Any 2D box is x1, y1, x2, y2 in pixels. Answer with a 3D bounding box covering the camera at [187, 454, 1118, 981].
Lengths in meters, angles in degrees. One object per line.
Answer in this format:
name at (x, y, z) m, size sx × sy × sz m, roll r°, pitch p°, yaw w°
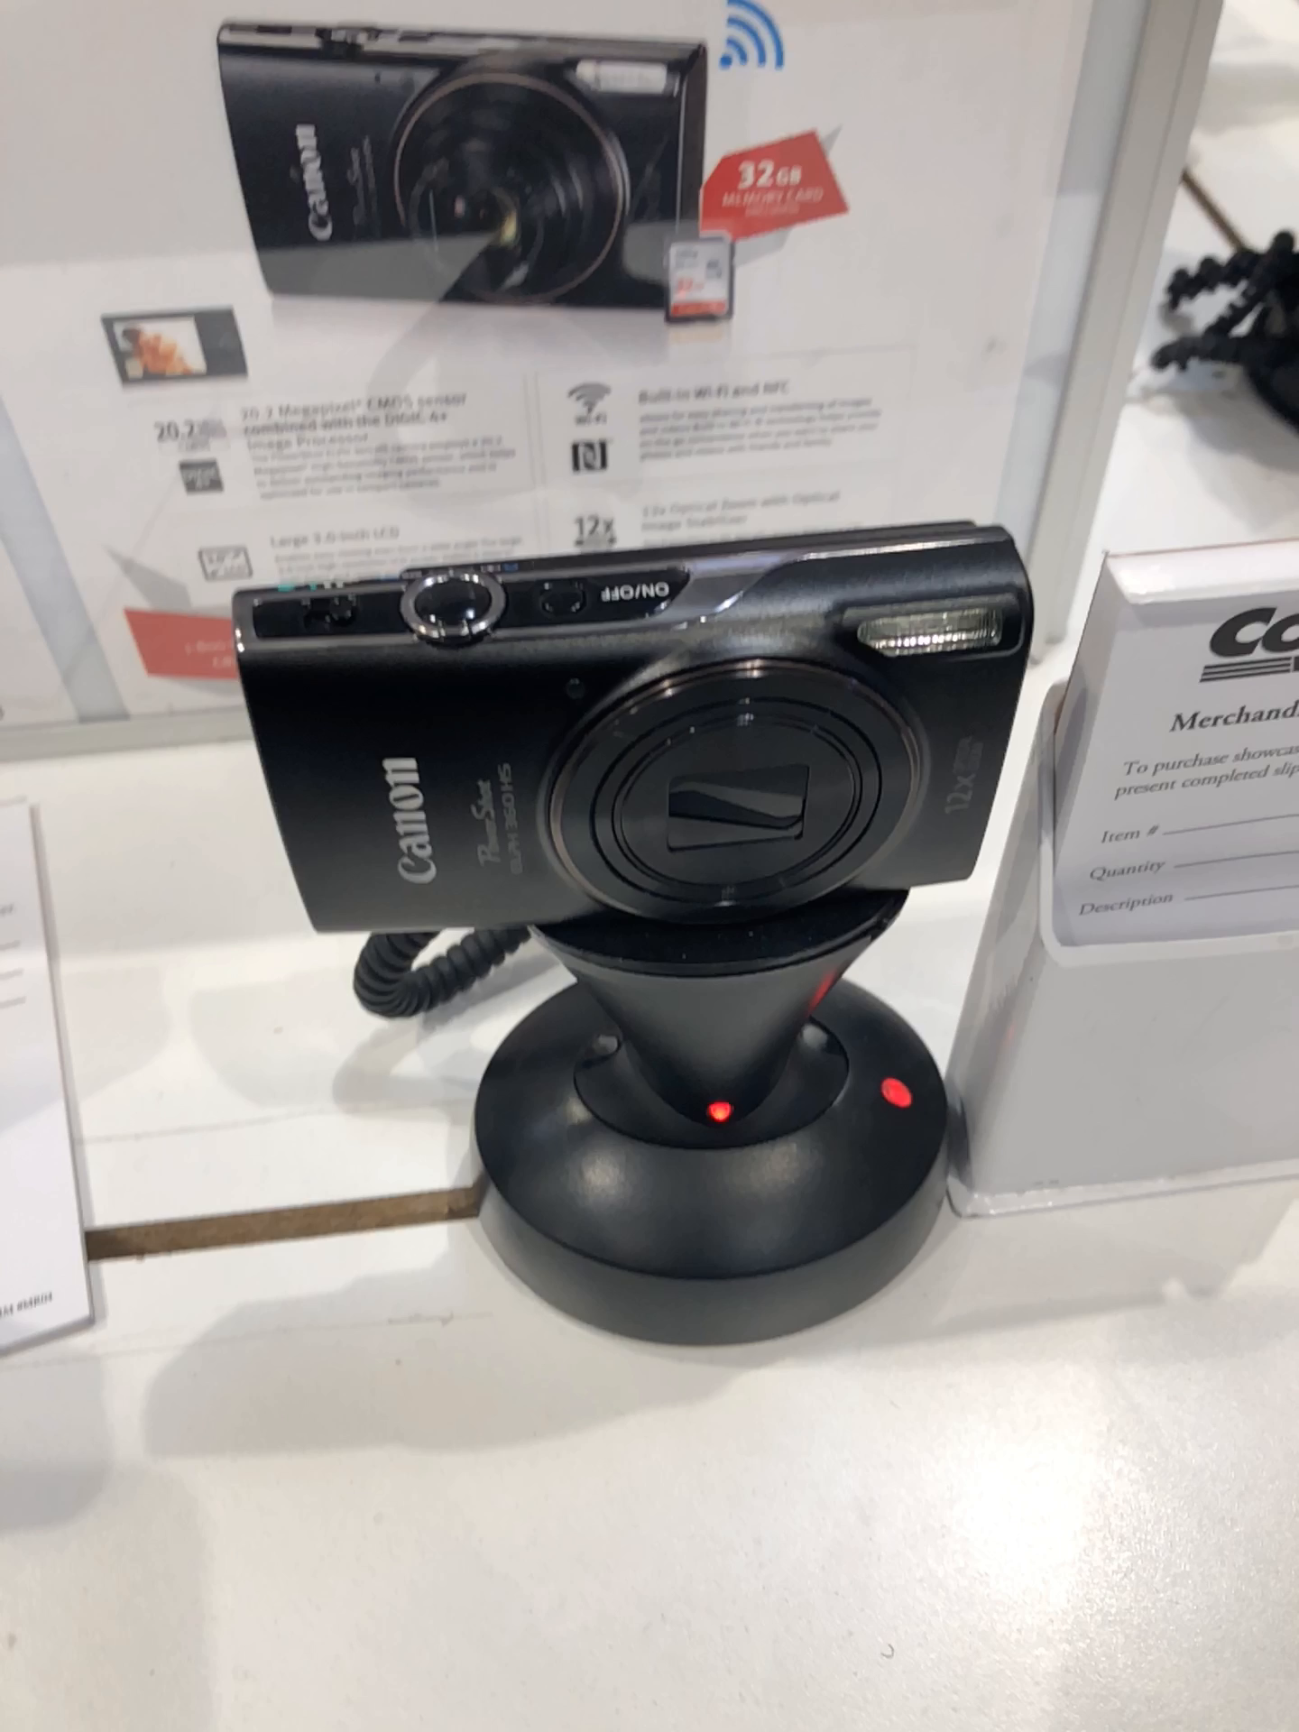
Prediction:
camera at (0.000, -0.019, 0.202) m, size 0.110 × 0.060 × 0.030 m, roll -5°, pitch 49°, yaw -3°
